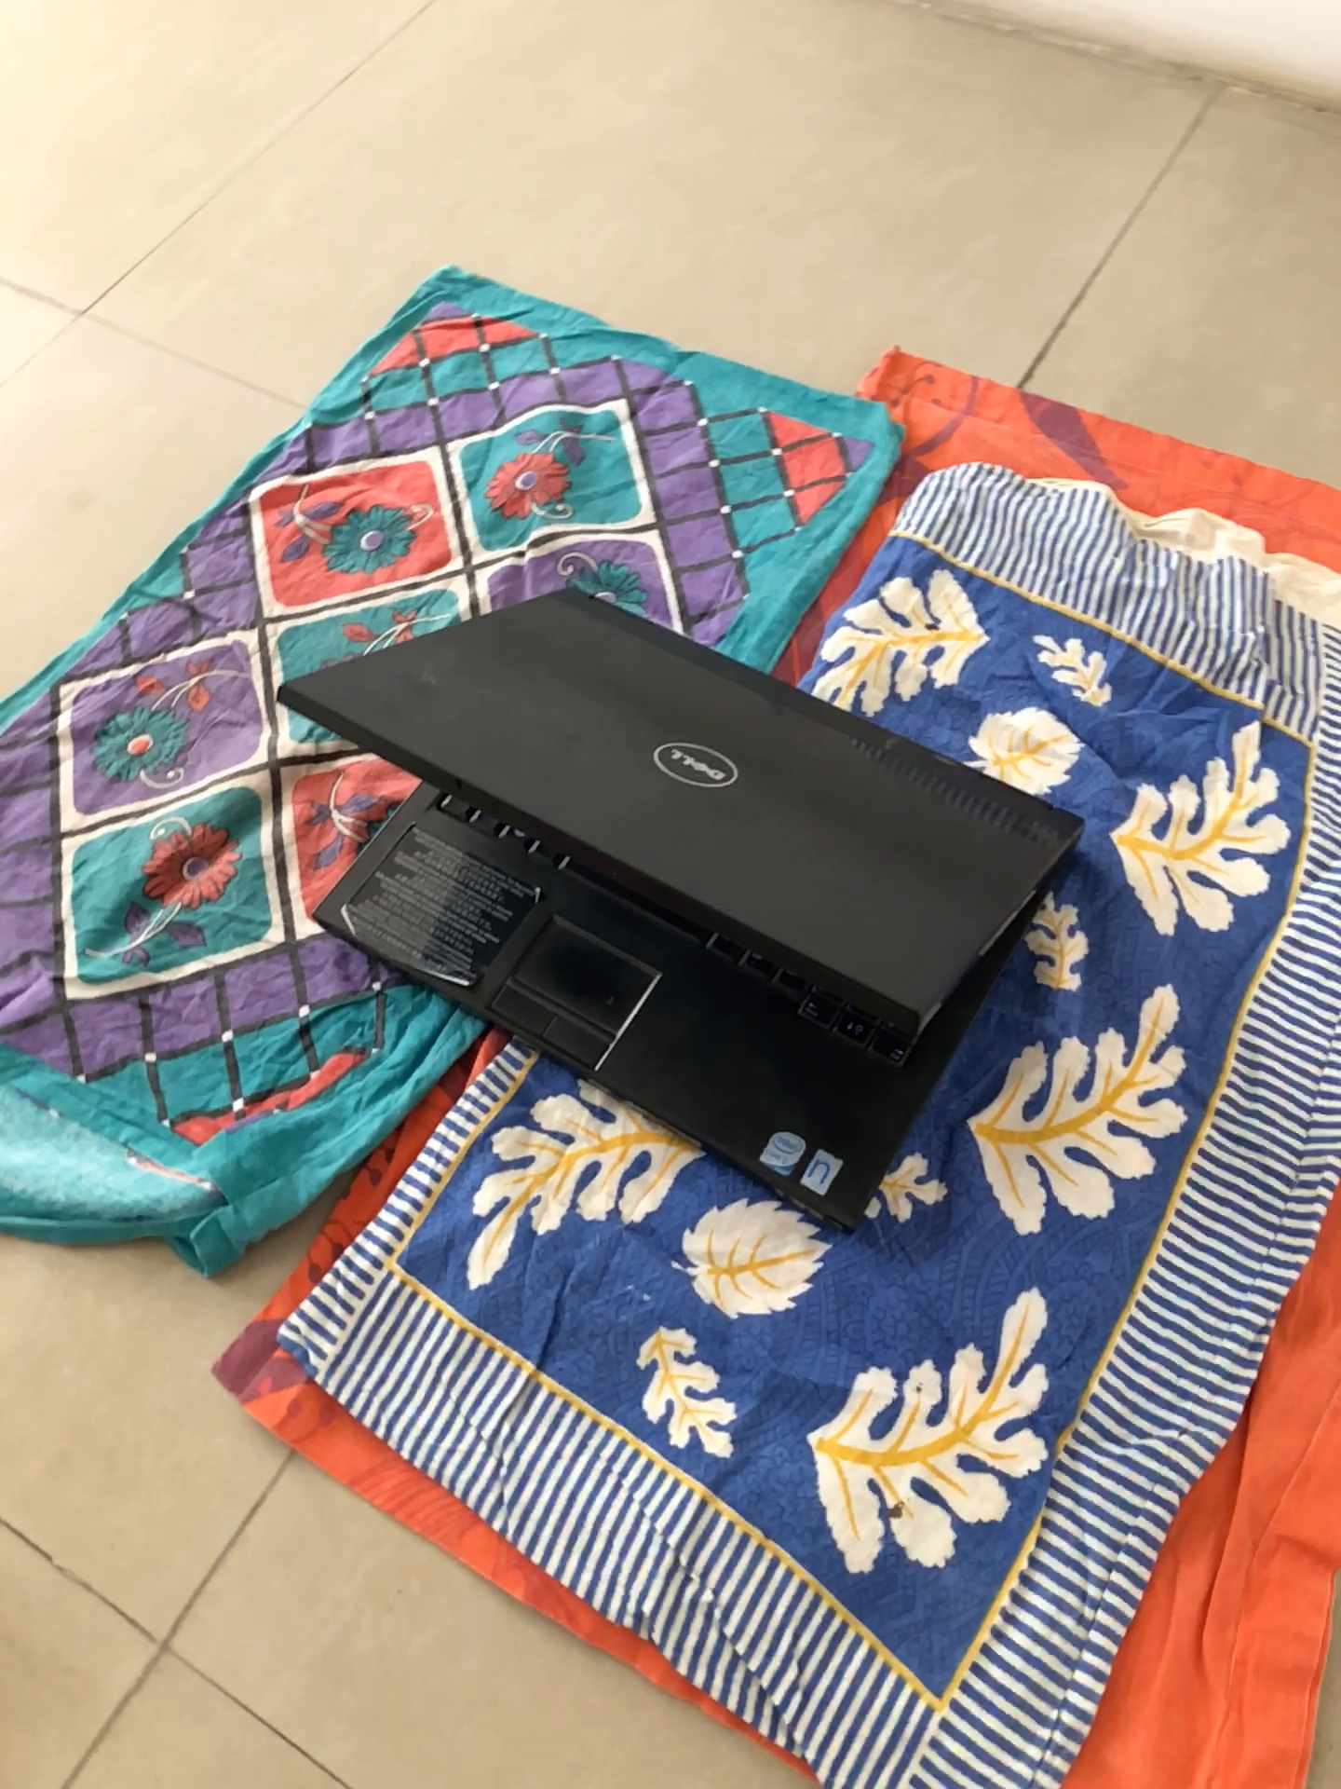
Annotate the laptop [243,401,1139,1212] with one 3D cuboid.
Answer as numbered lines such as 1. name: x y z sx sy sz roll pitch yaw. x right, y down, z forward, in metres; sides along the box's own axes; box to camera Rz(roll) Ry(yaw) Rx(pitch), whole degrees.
1. laptop: 0.015 -0.050 0.676 0.298 0.143 0.235 27 64 18
